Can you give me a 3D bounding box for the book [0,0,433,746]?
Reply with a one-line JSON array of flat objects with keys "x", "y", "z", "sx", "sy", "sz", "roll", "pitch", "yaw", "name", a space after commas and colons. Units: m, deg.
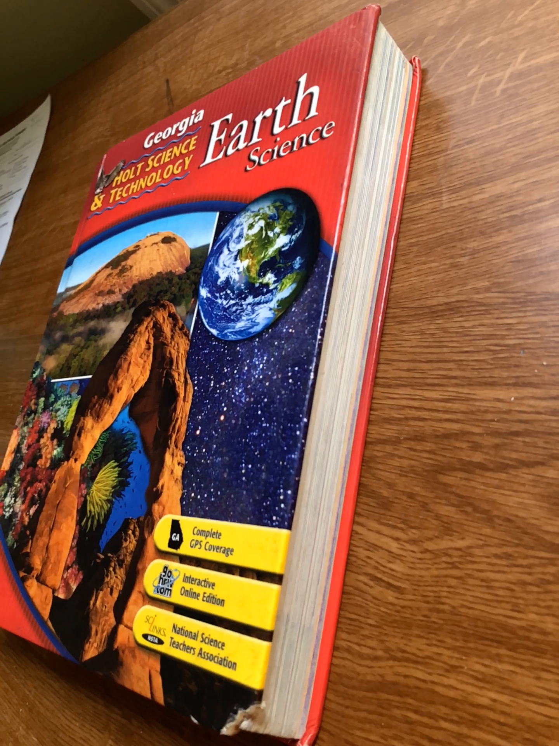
[{"x": -0.055, "y": -0.005, "z": 0.283, "sx": 0.215, "sy": 0.050, "sz": 0.266, "roll": -5, "pitch": 67, "yaw": 42, "name": "book"}]
